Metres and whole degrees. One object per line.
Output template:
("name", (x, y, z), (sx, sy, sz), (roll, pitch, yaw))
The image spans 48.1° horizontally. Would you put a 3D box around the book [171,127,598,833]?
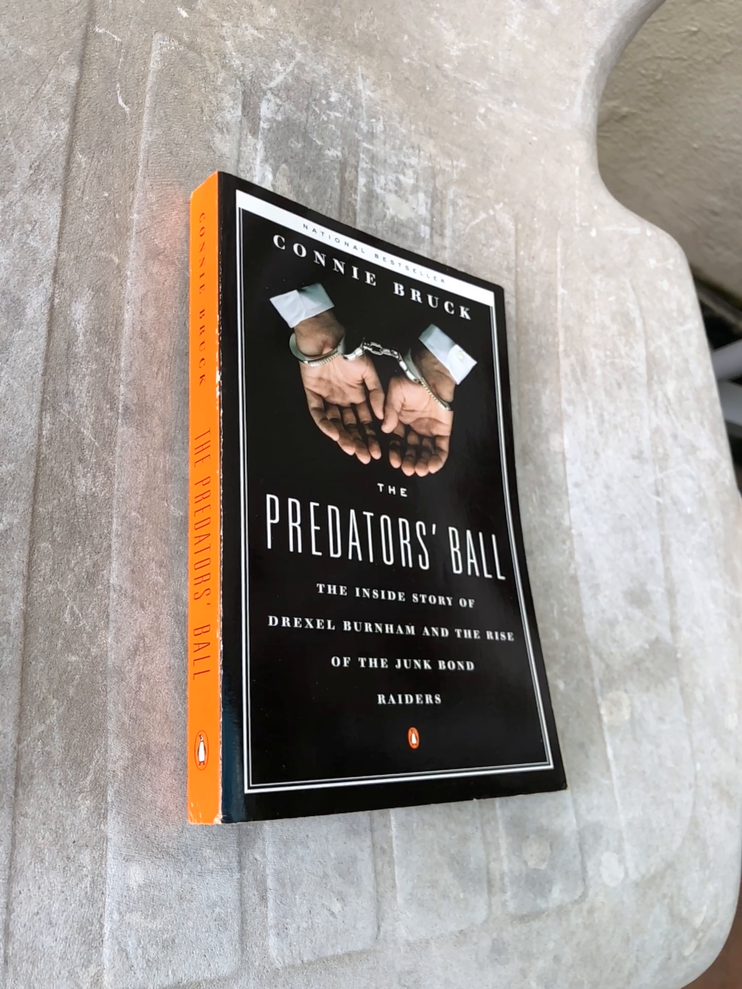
("book", (0.005, -0.004, 0.285), (0.141, 0.030, 0.210), (10, 67, -36))
